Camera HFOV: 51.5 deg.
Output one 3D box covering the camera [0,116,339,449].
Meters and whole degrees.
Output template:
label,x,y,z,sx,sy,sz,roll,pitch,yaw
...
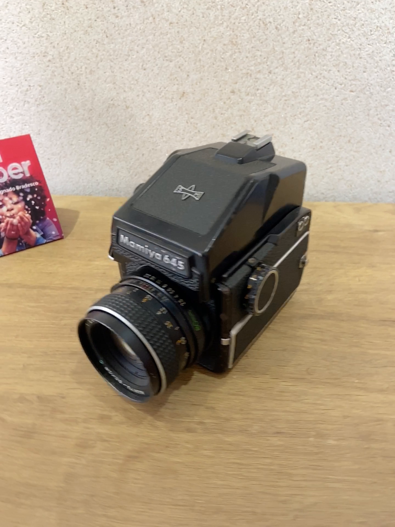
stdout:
label,x,y,z,sx,sy,sz,roll,pitch,yaw
camera,-0.012,-0.009,0.265,0.130,0.109,0.161,23,44,32
